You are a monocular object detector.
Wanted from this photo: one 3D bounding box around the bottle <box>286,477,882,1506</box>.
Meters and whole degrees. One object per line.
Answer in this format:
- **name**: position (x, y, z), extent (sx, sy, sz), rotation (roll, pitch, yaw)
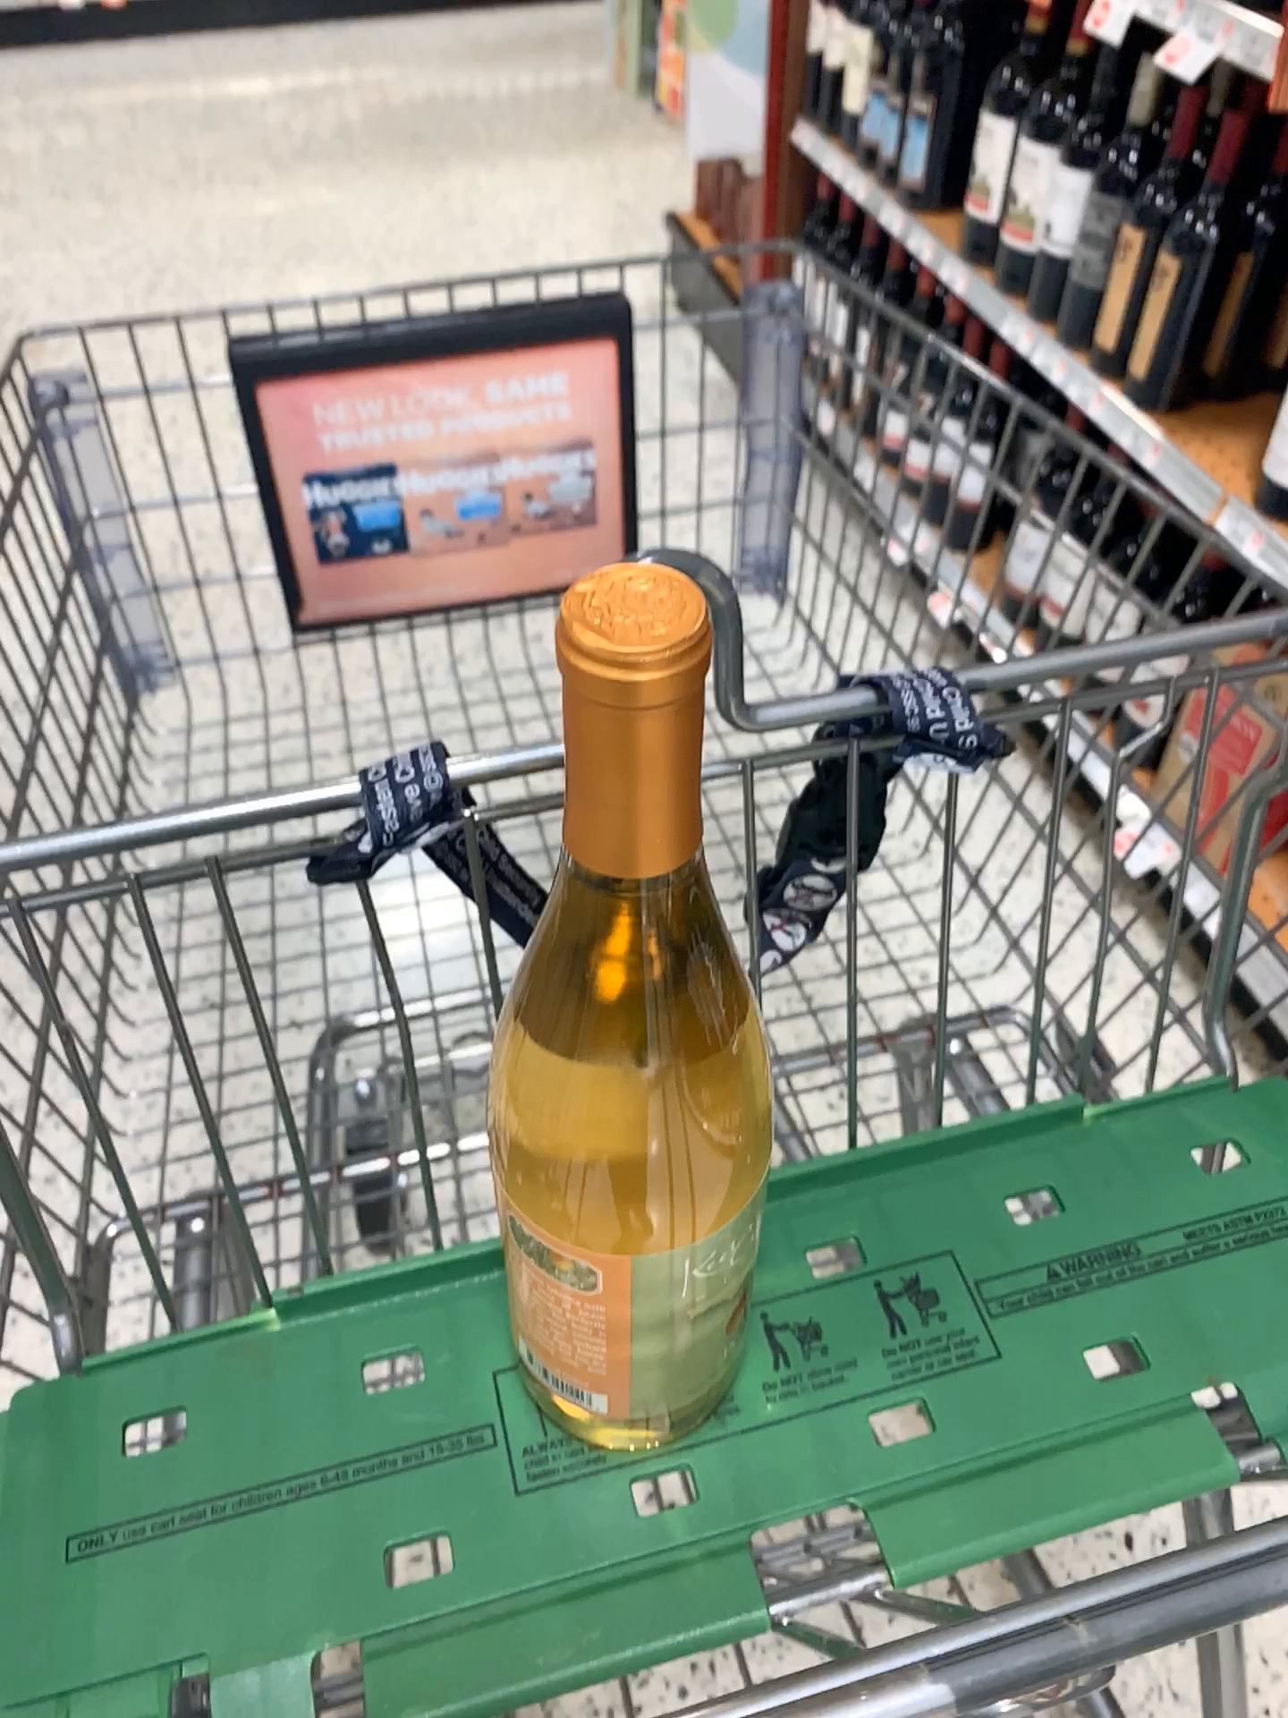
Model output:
- **bottle**: position (-0.011, 0.061, 0.362), extent (0.086, 0.297, 0.084), rotation (1, 45, -1)
